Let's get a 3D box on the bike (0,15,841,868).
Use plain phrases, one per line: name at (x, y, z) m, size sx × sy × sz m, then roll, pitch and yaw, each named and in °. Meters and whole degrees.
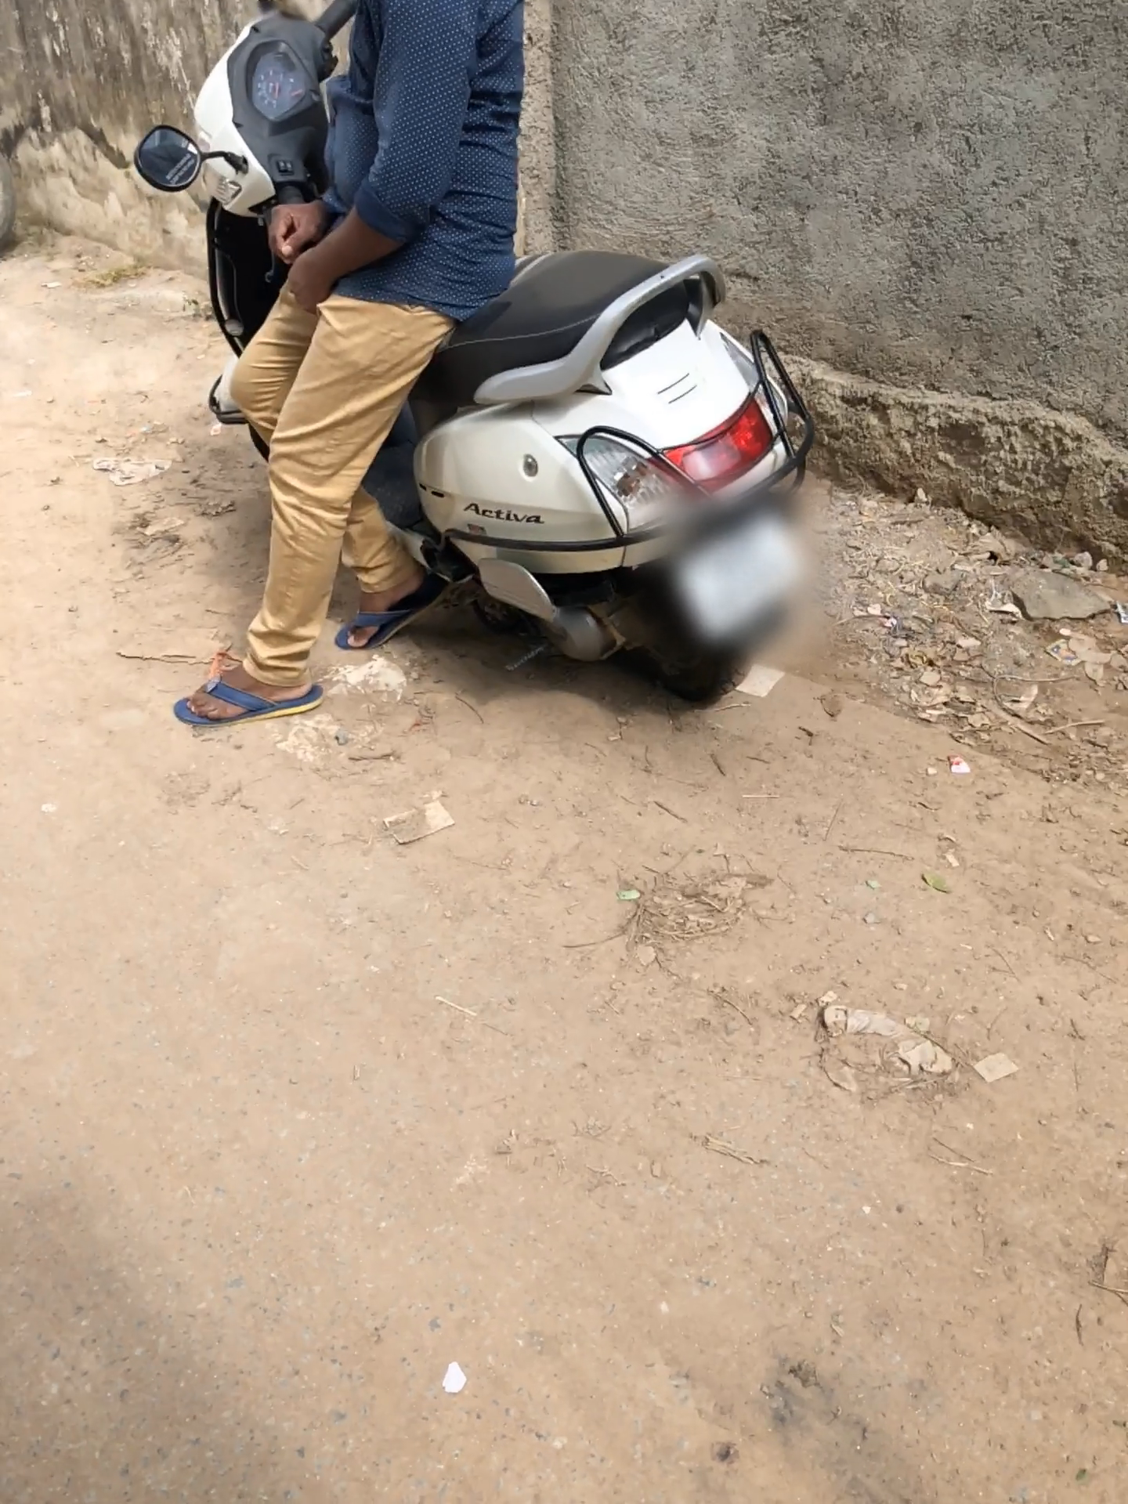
bike at (-0.411, -0.719, 2.399) m, size 0.671 × 1.139 × 1.625 m, roll -29°, pitch 43°, yaw -32°
